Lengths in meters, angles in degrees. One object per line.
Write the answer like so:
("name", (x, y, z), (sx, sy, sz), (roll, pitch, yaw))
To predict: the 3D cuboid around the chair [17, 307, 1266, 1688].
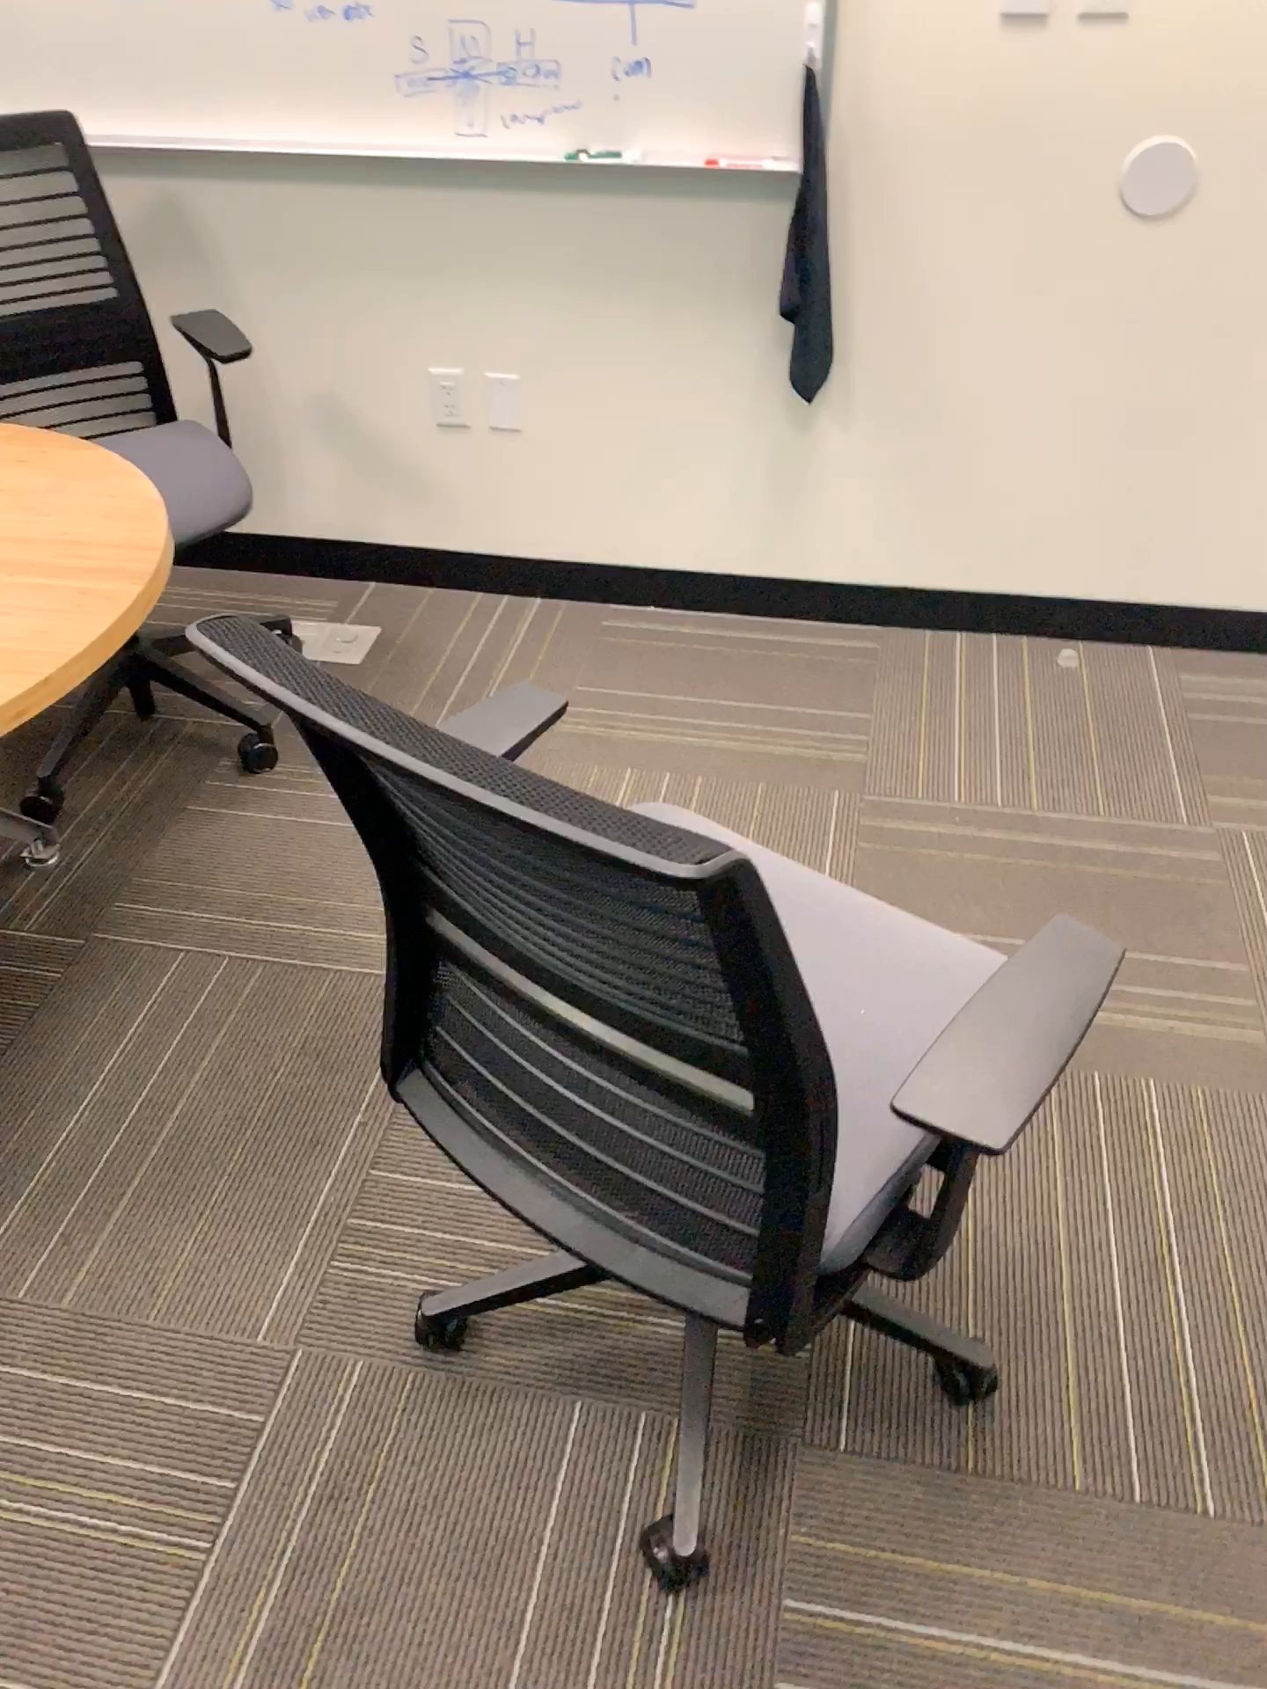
("chair", (0.071, 0.162, 1.216), (0.652, 0.994, 0.692), (27, 48, 30))
